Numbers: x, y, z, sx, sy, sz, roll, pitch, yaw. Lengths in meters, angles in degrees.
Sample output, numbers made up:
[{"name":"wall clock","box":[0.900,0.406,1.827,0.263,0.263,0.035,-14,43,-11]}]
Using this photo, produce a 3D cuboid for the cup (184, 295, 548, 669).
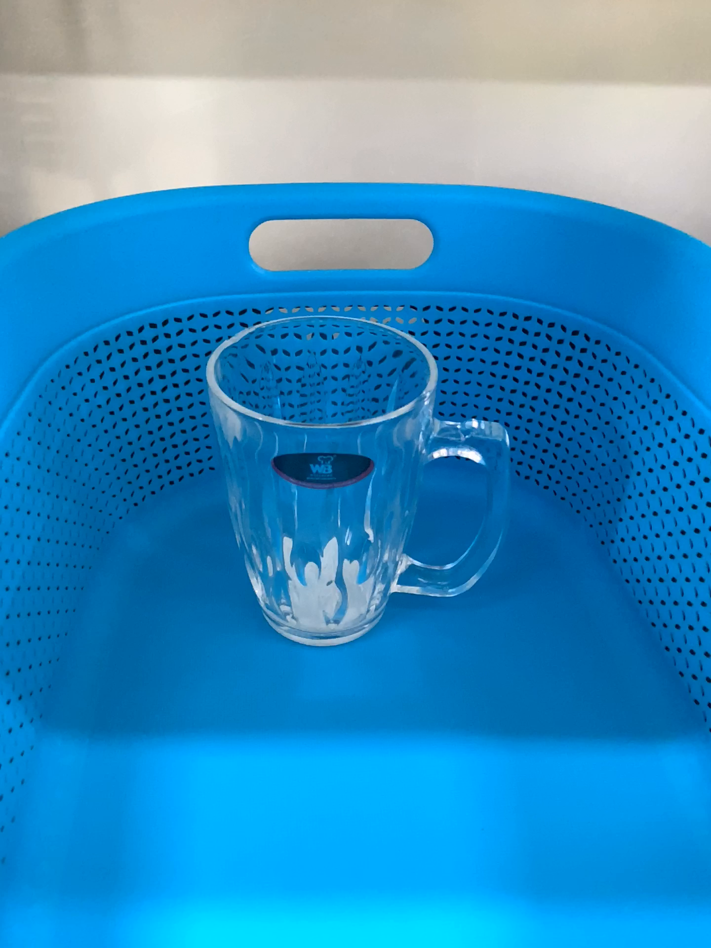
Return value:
[{"name":"cup","box":[-0.001,0.003,0.285,0.109,0.116,0.078,-2,37,-5]}]
